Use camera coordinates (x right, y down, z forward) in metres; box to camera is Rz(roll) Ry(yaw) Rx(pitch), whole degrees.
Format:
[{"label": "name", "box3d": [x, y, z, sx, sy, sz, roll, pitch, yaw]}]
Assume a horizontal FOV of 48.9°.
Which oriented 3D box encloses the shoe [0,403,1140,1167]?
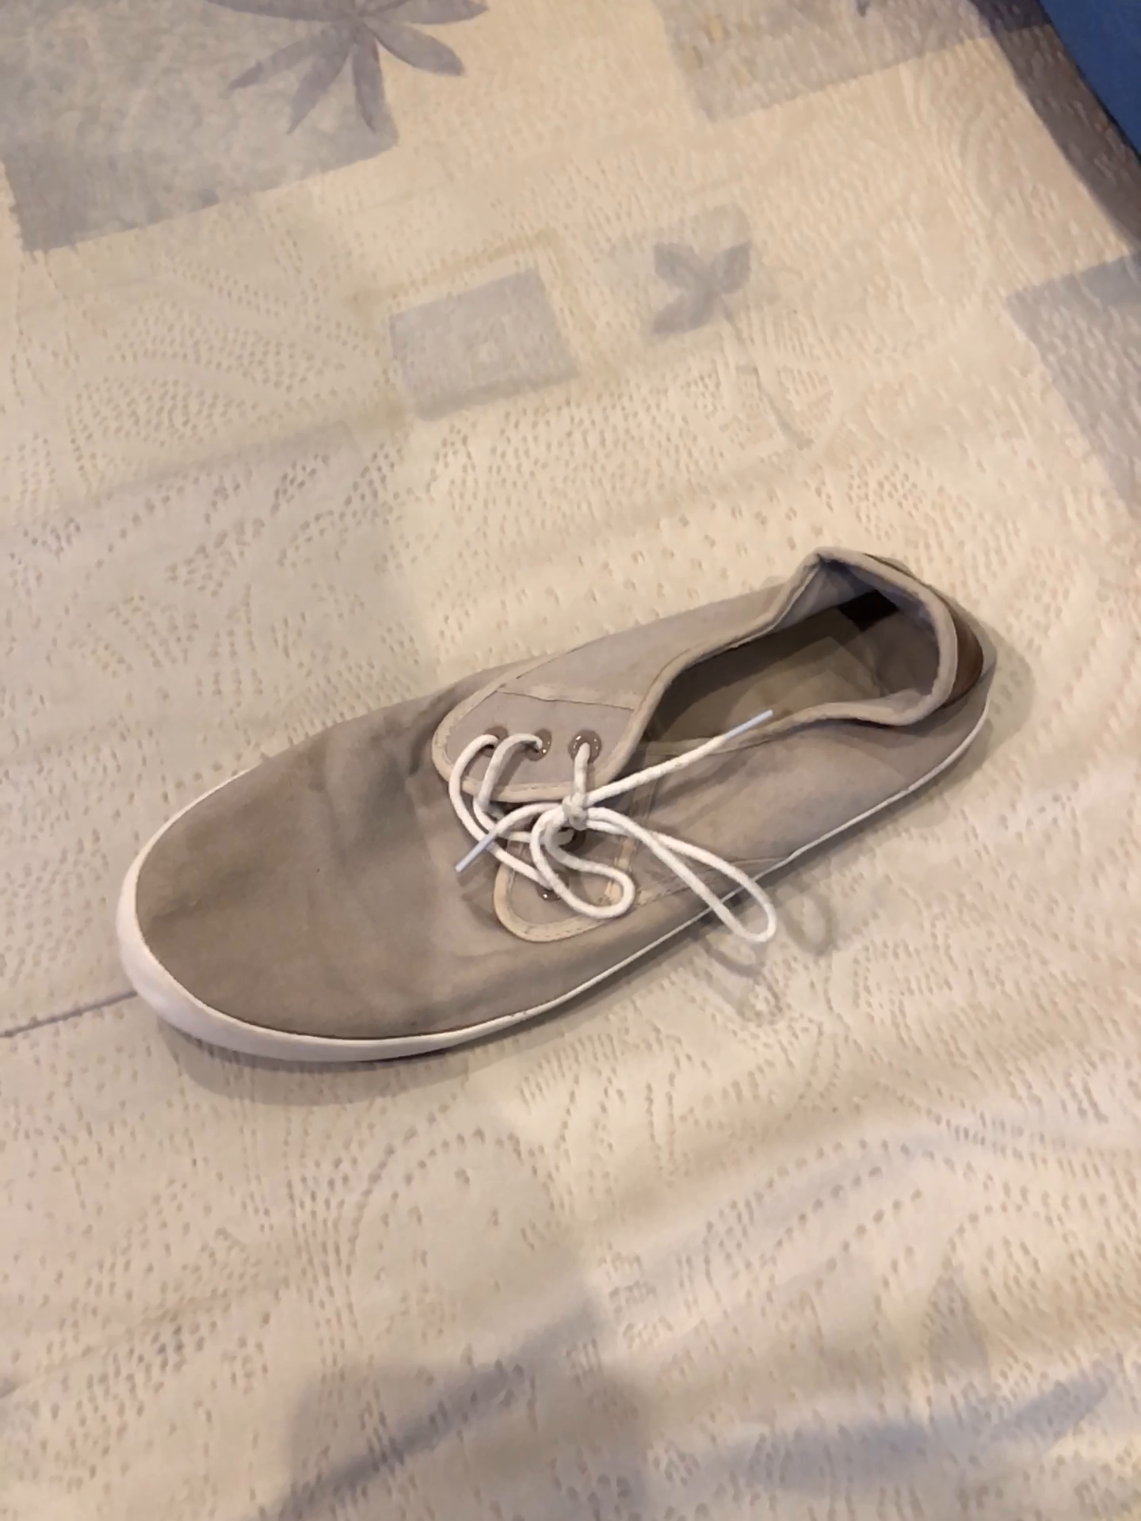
[{"label": "shoe", "box3d": [0.001, 0.008, 0.354, 0.270, 0.080, 0.110, -20, 71, -7]}]
